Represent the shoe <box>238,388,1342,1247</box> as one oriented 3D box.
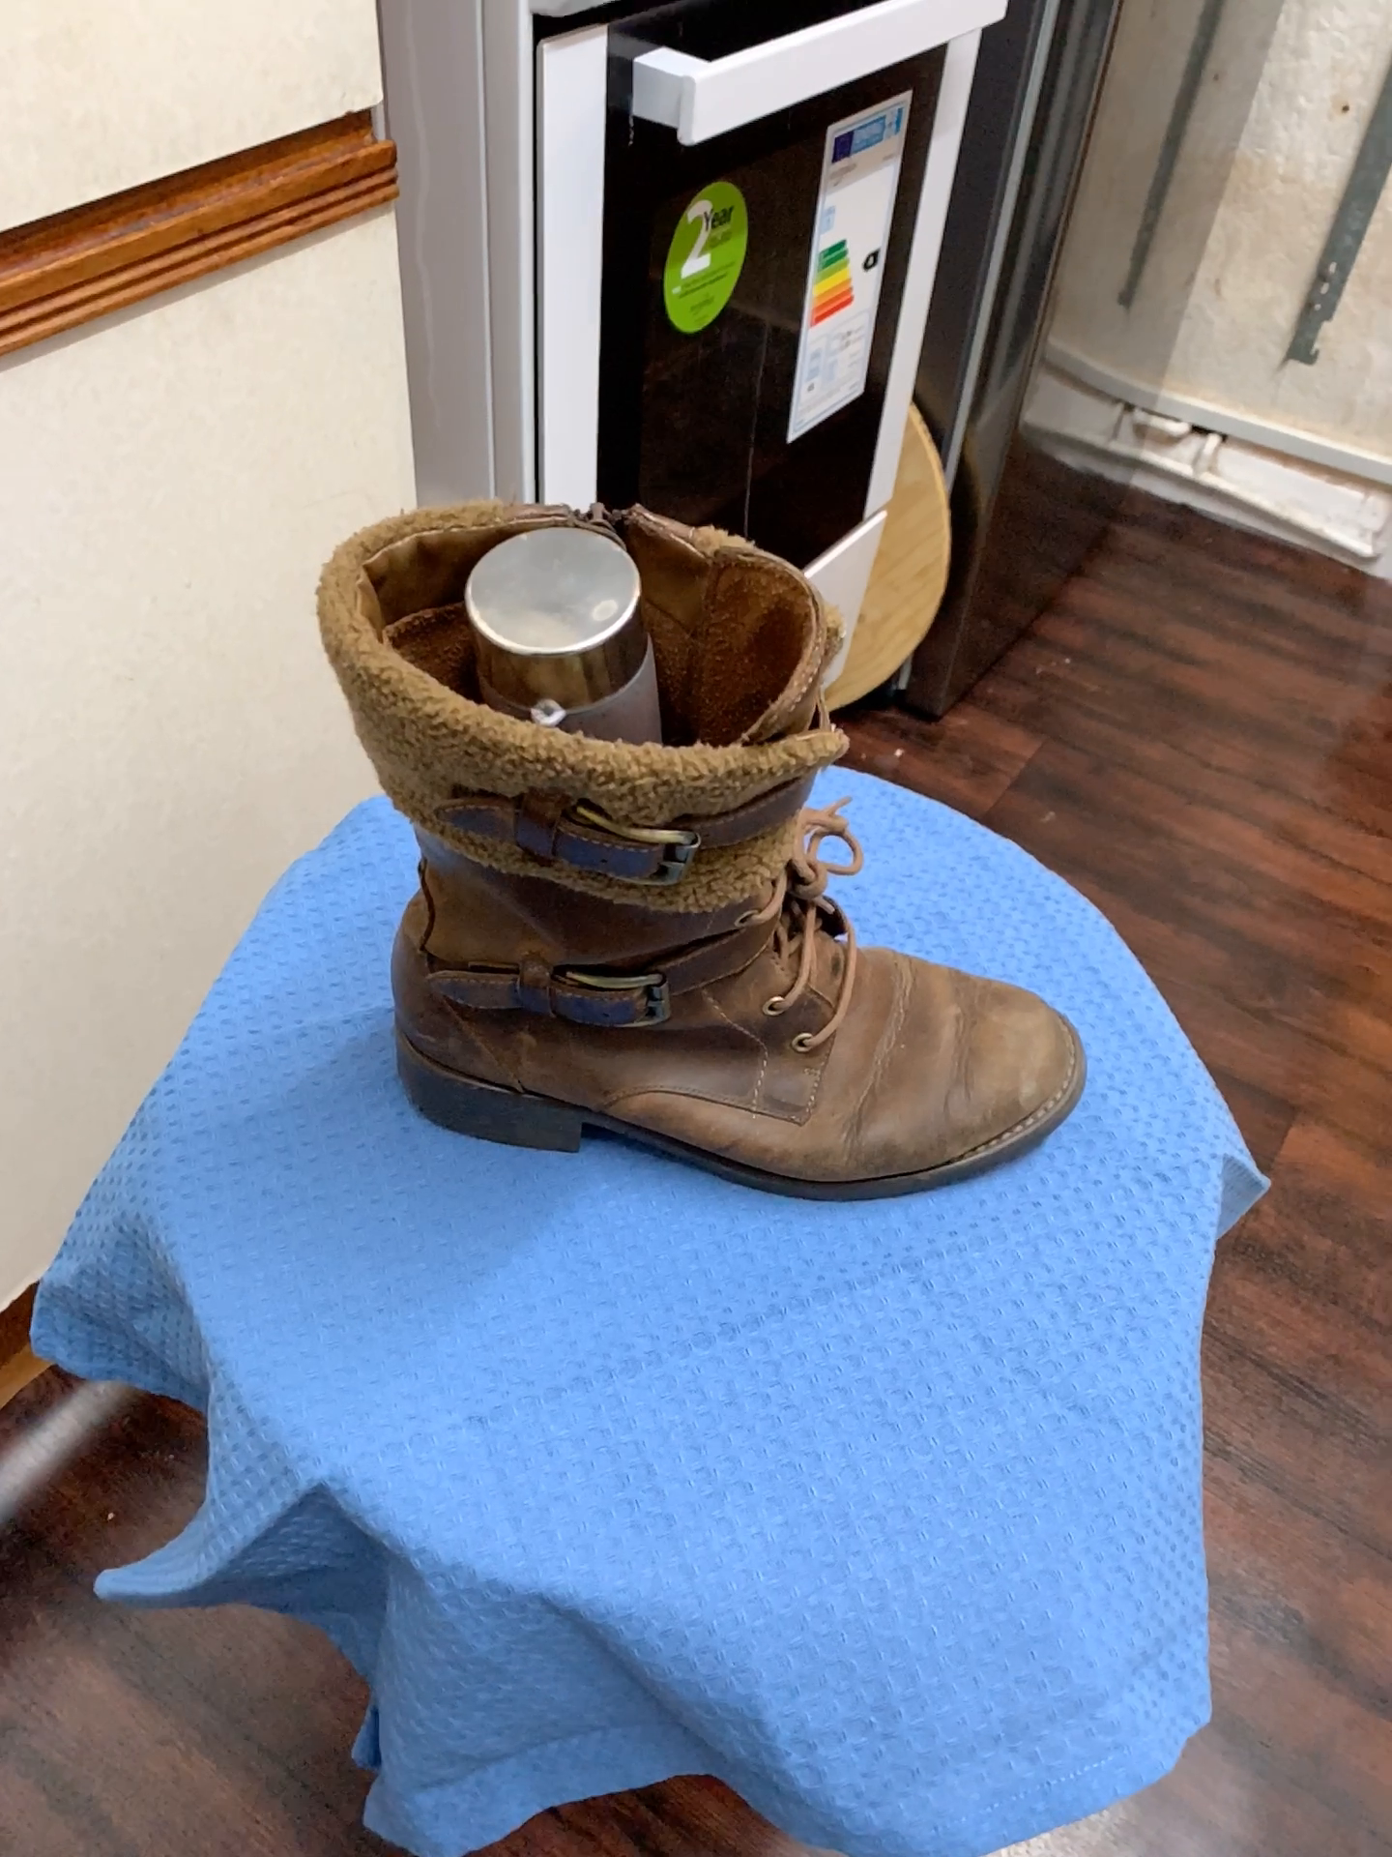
[{"bbox_3d":[0.021,-0.019,0.449,0.250,0.228,0.121,7,54,2],"label":"shoe"}]
